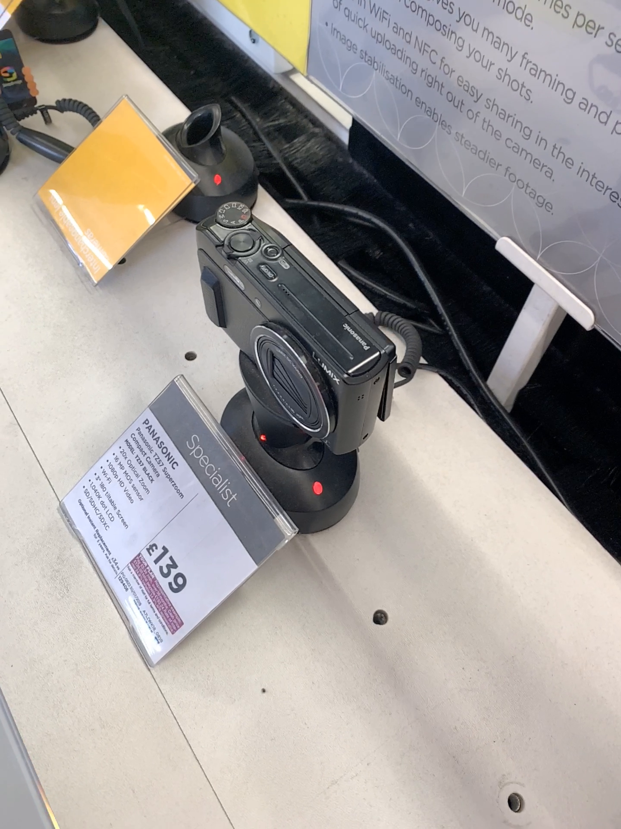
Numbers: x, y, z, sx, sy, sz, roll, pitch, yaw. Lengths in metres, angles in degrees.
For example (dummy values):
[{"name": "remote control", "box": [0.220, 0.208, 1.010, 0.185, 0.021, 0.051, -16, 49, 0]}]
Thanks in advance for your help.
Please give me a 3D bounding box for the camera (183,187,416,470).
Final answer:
[{"name": "camera", "box": [-0.008, -0.037, 0.276, 0.030, 0.060, 0.111, -33, 65, -20]}]
